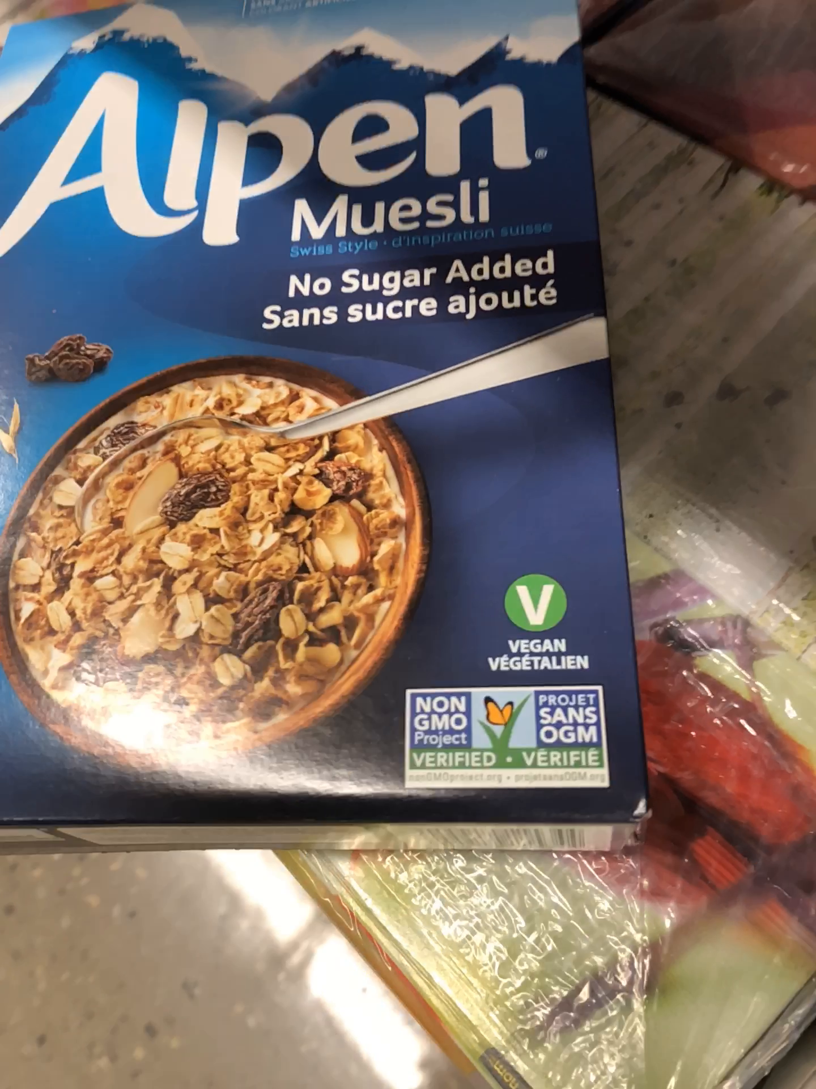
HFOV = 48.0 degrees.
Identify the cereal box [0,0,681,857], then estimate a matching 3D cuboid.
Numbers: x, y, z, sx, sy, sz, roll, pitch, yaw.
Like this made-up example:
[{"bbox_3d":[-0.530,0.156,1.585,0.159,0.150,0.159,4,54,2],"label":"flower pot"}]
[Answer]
[{"bbox_3d":[-0.044,-0.063,0.241,0.190,0.050,0.270,-4,65,10],"label":"cereal box"}]
